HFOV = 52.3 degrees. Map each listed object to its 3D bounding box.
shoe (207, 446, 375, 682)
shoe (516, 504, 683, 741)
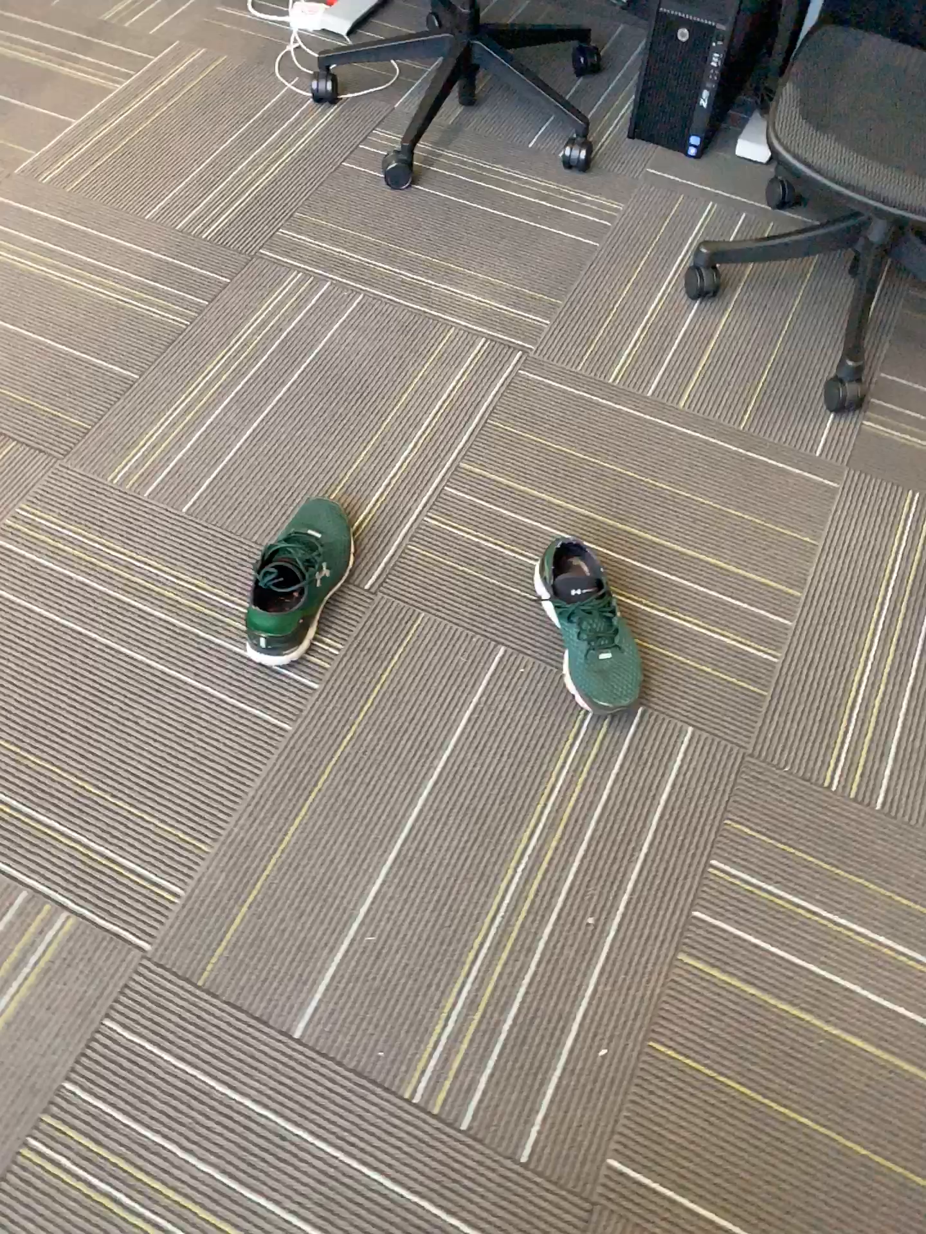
[{"bbox_3d":[-0.245,-0.083,1.414,0.130,0.139,0.311,14,58,7],"label":"shoe"},{"bbox_3d":[0.193,0.004,1.417,0.130,0.139,0.311,-13,59,-10],"label":"shoe"}]
